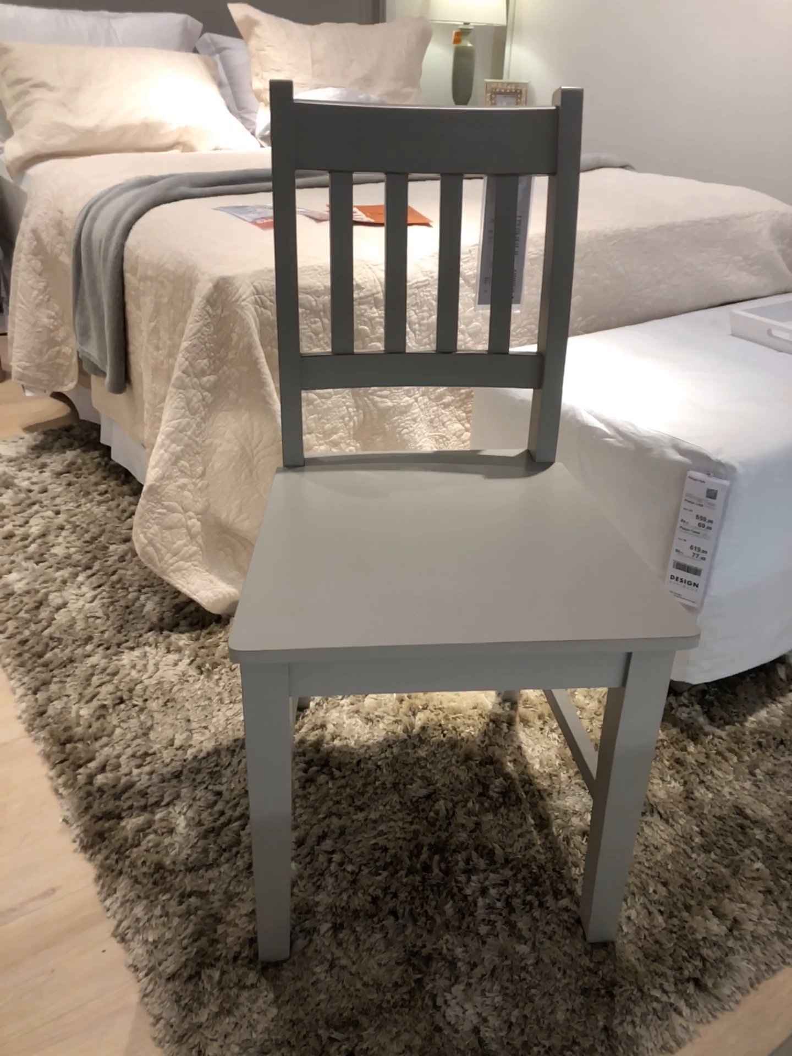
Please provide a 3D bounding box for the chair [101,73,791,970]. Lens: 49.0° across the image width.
[{"bbox_3d":[0.013,-0.033,0.980,0.480,0.824,0.534,-1,28,-7],"label":"chair"}]
